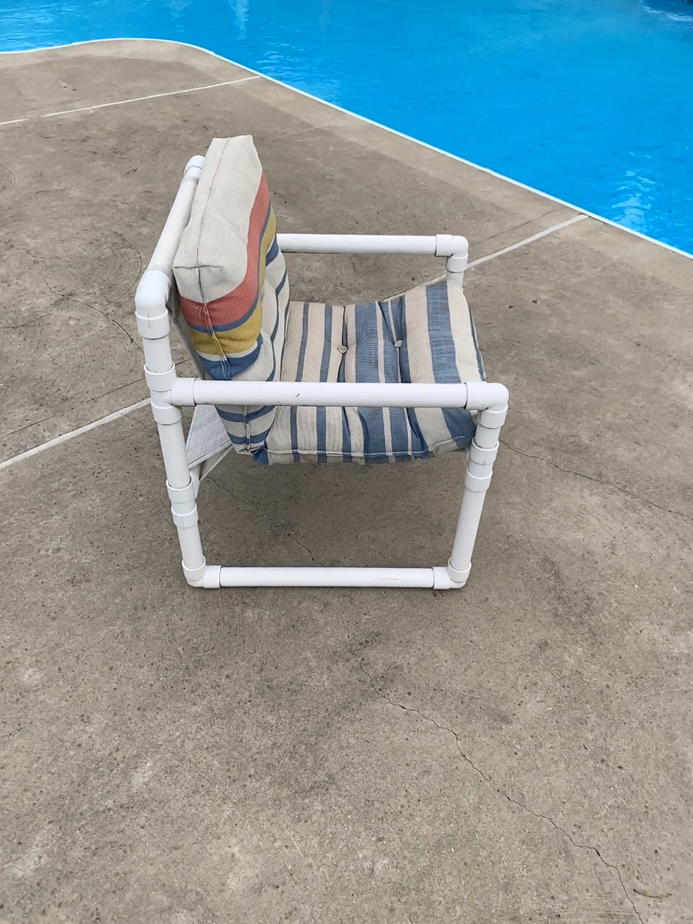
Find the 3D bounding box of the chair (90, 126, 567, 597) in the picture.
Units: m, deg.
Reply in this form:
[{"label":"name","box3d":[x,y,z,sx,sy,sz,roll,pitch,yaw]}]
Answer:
[{"label":"chair","box3d":[-0.035,-0.208,1.465,0.670,0.687,0.653,2,42,-1]}]
